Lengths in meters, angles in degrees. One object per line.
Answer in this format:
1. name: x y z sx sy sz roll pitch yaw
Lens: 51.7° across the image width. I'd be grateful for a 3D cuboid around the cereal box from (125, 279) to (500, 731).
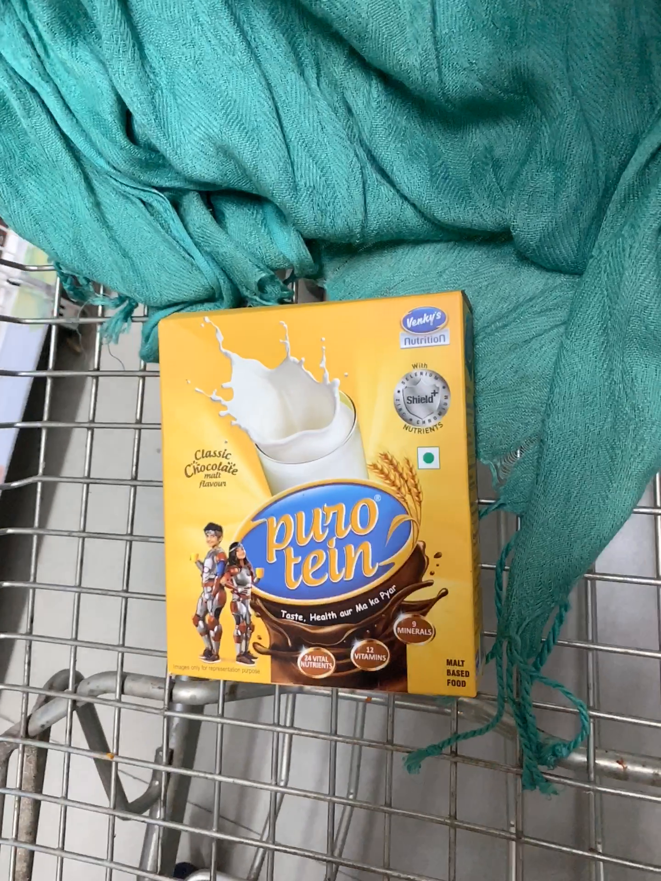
1. cereal box: -0.006 0.025 0.283 0.140 0.050 0.160 -2 91 15
